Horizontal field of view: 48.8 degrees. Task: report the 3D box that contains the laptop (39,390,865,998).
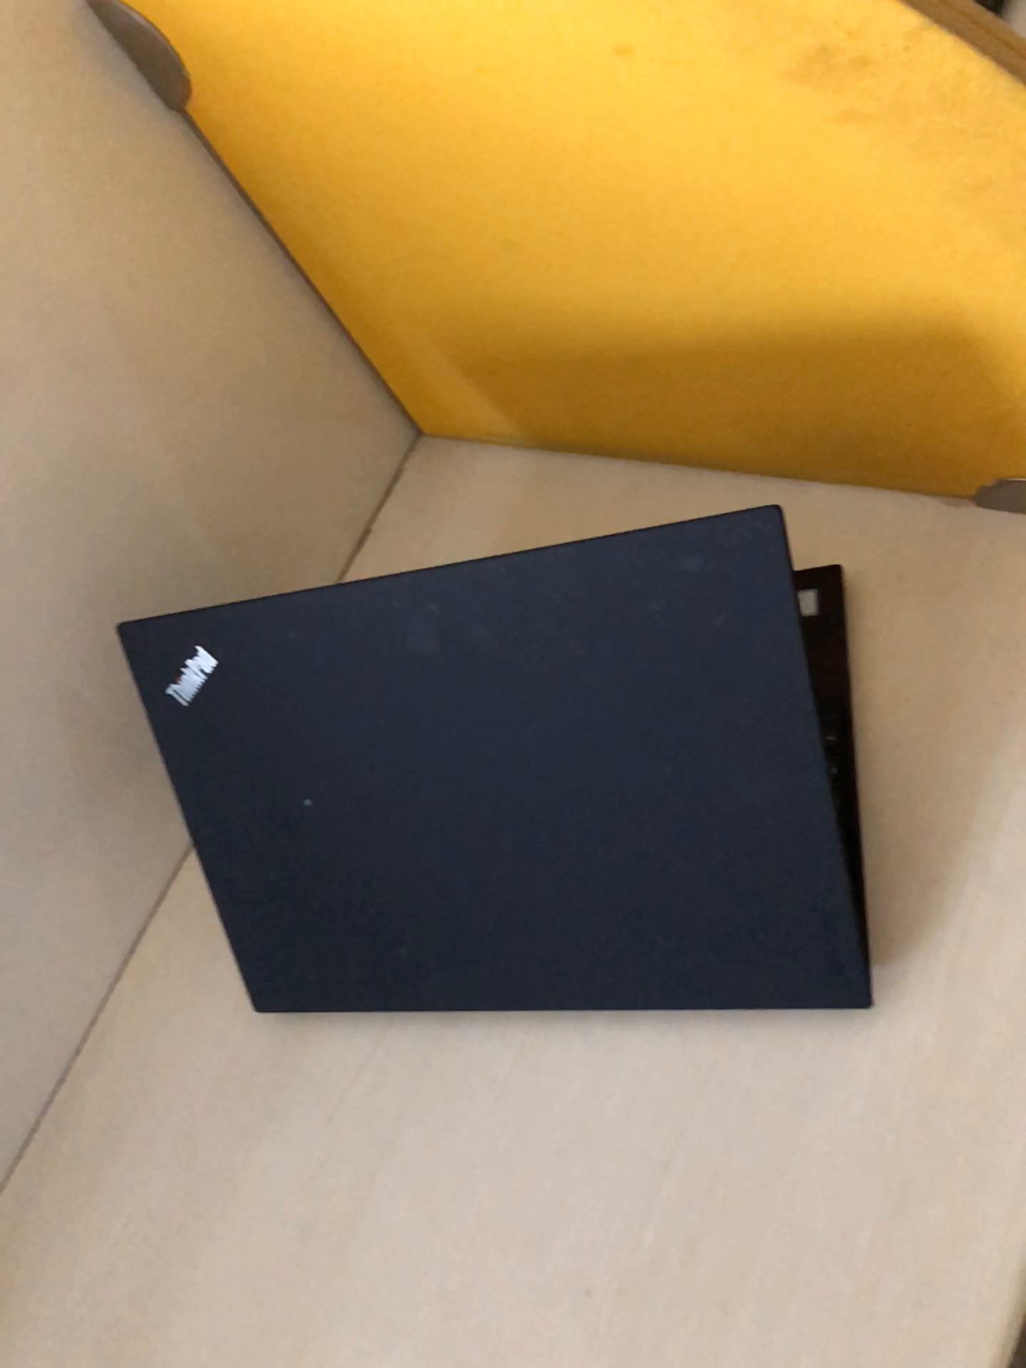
[{"bbox_3d":[-0.019,0.024,0.590,0.349,0.166,0.240,-9,55,24],"label":"laptop"}]
